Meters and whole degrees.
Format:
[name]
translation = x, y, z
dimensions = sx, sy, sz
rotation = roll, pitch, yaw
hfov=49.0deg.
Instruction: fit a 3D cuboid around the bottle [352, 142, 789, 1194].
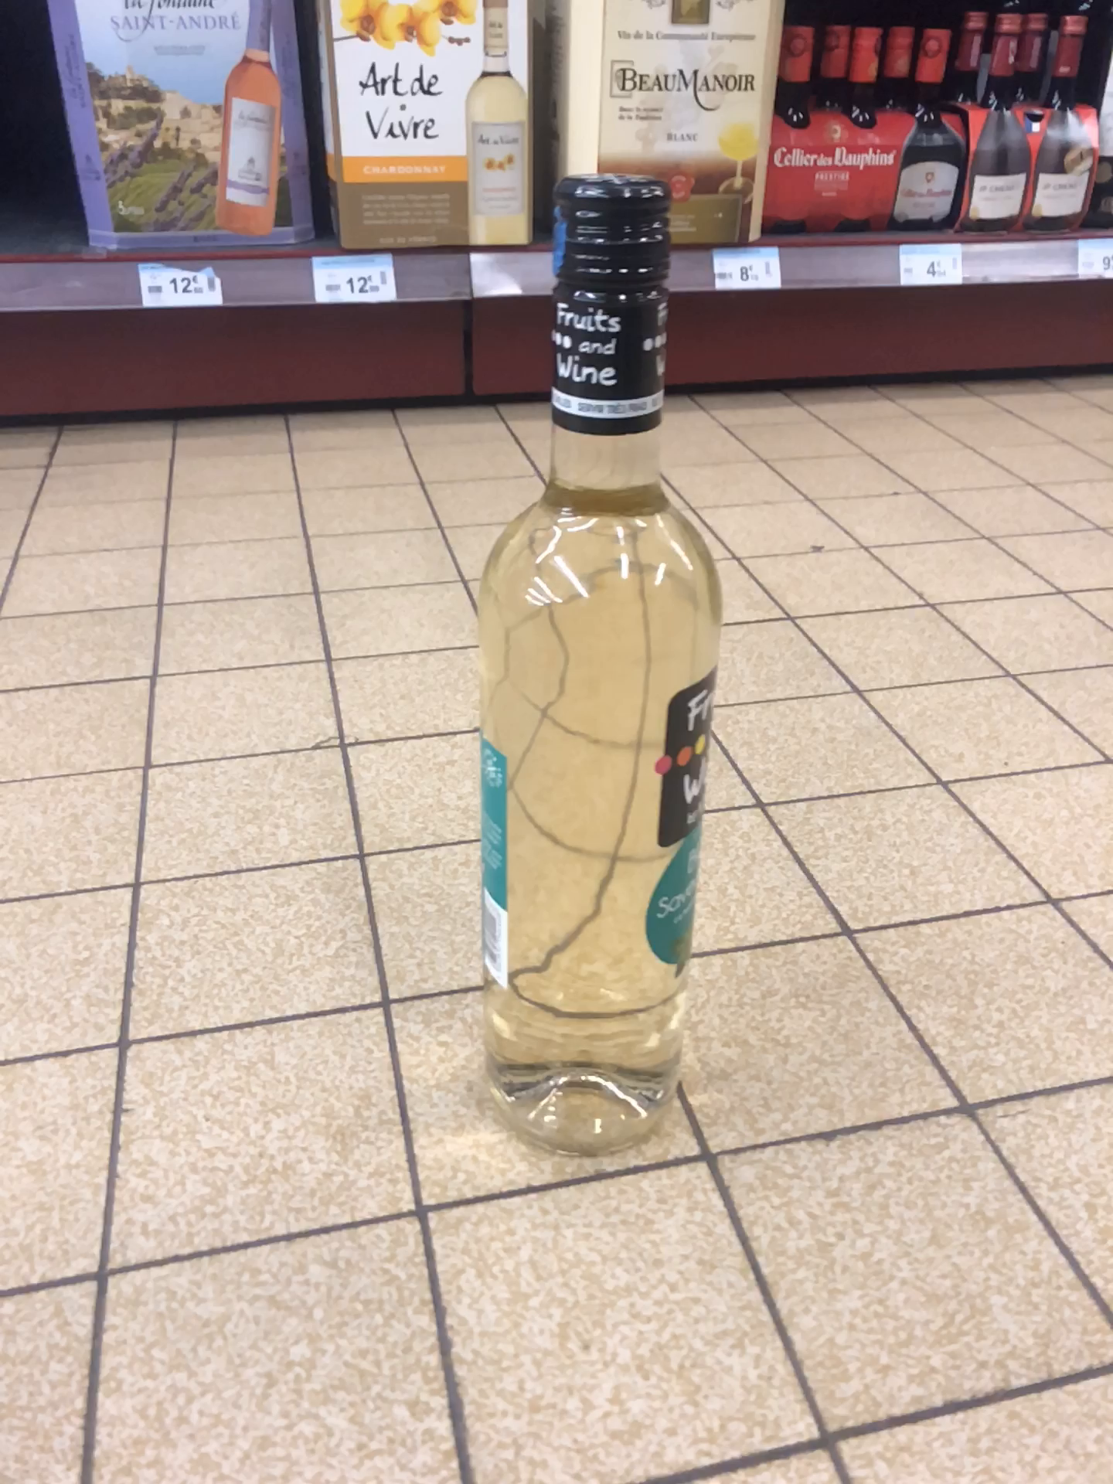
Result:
[bottle]
translation = 0.003, -0.010, 0.369
dimensions = 0.090, 0.298, 0.101
rotation = 4, 30, 4
